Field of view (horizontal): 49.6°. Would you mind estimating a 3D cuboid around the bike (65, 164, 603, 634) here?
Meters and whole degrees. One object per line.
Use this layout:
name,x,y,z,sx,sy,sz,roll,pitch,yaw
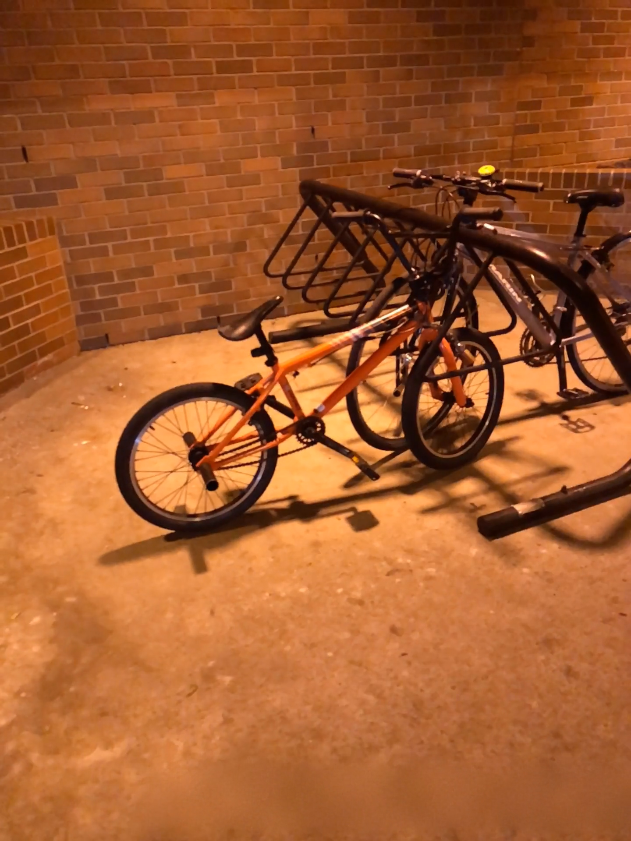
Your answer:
bike,0.032,-0.177,2.069,1.290,0.926,0.748,-14,29,-20
